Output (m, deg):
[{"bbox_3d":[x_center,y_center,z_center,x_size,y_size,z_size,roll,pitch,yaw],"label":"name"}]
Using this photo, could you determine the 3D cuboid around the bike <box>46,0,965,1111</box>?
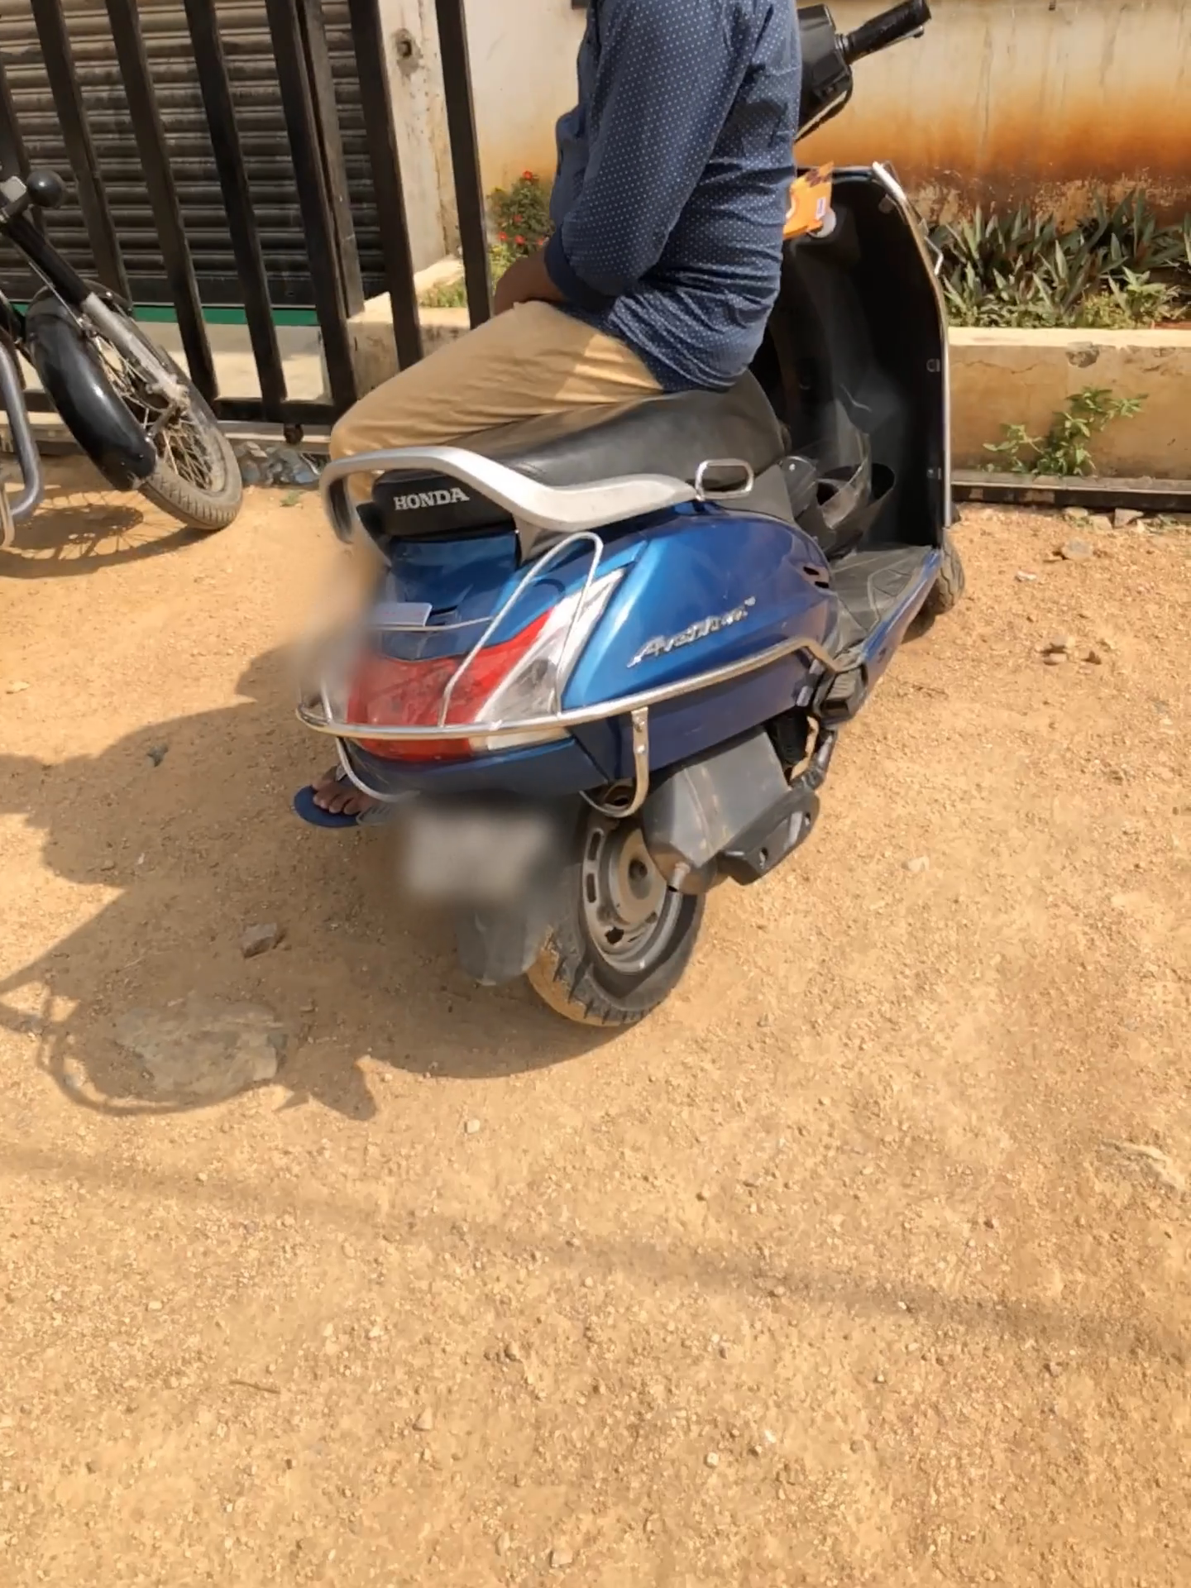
[{"bbox_3d":[0.070,-0.584,1.992,0.621,1.115,1.559,10,37,20],"label":"bike"}]
